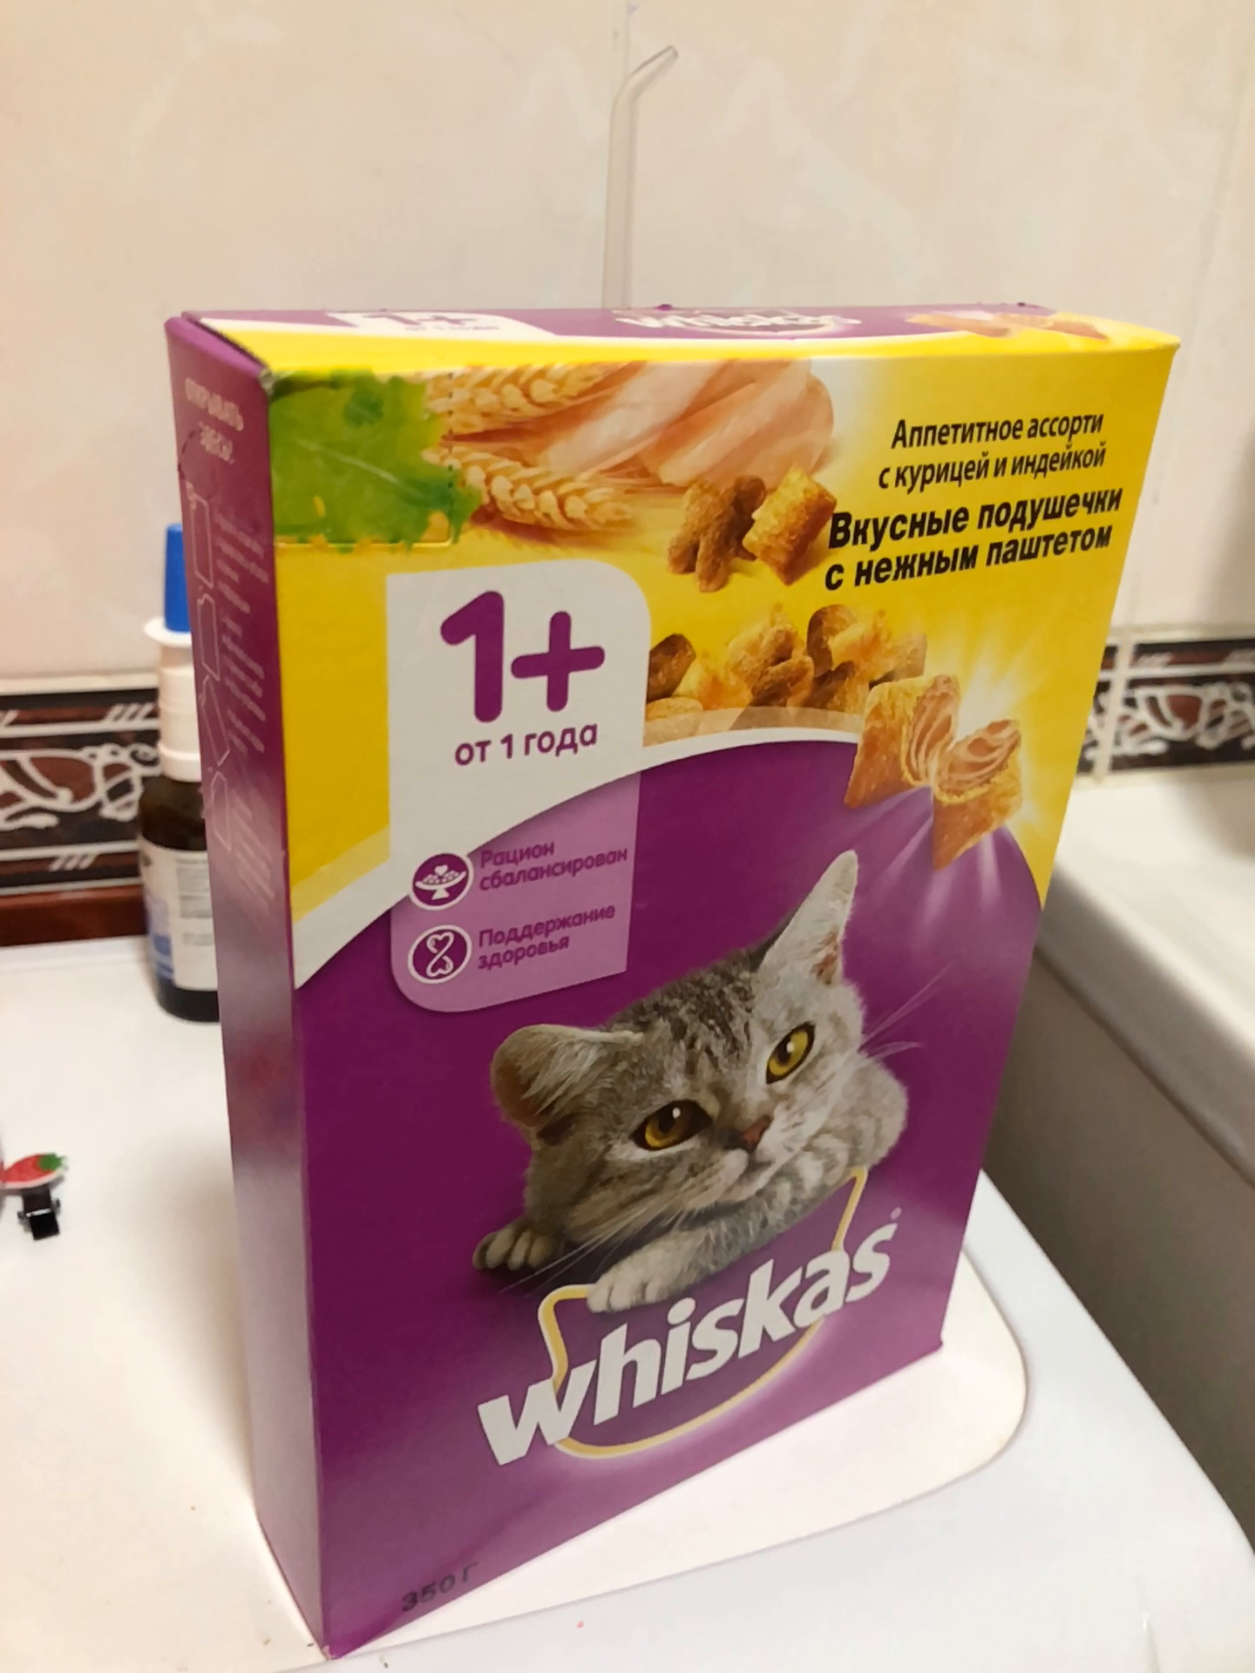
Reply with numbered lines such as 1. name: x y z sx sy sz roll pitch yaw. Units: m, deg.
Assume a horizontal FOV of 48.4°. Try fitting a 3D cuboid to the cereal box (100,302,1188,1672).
1. cereal box: 0.005 0.029 0.239 0.150 0.219 0.040 -13 31 -30
